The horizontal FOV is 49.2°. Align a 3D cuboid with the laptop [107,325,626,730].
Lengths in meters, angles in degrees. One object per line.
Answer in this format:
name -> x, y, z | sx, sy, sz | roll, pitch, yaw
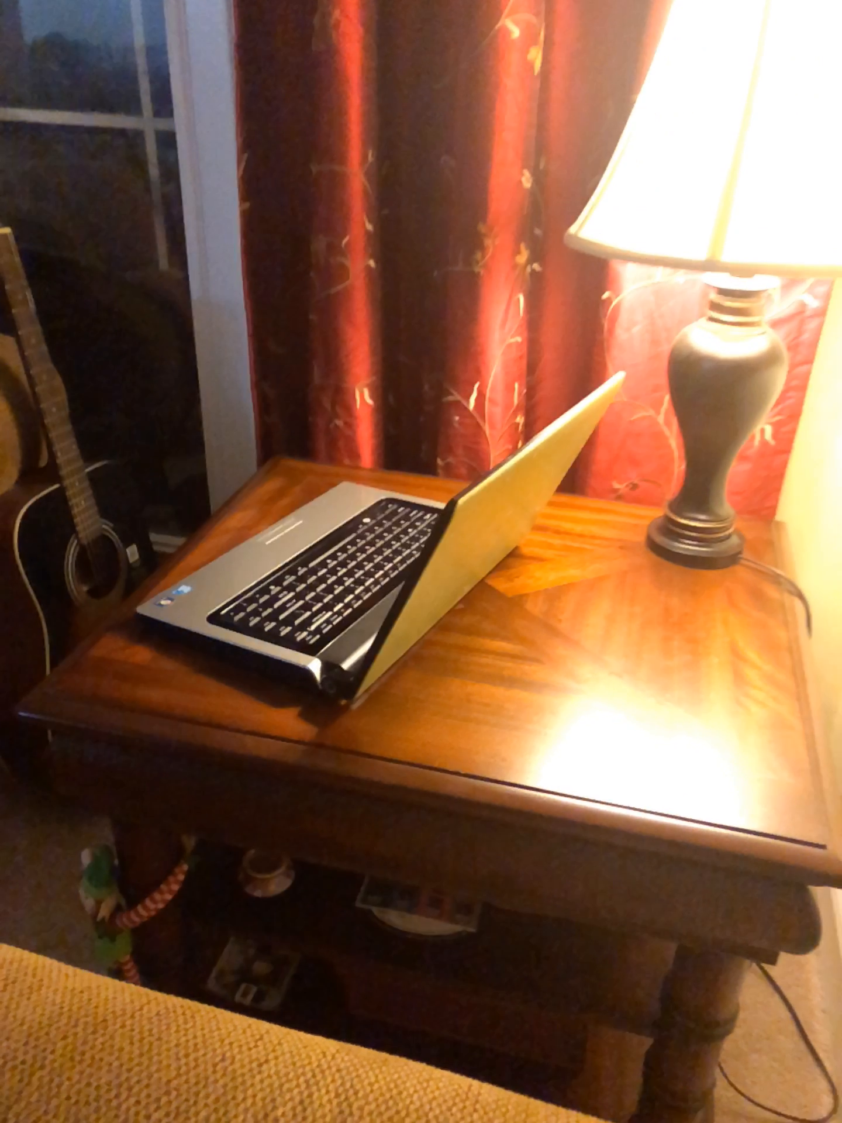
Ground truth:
laptop -> -0.036, -0.070, 0.928 | 0.351, 0.204, 0.363 | 17, 33, 25
